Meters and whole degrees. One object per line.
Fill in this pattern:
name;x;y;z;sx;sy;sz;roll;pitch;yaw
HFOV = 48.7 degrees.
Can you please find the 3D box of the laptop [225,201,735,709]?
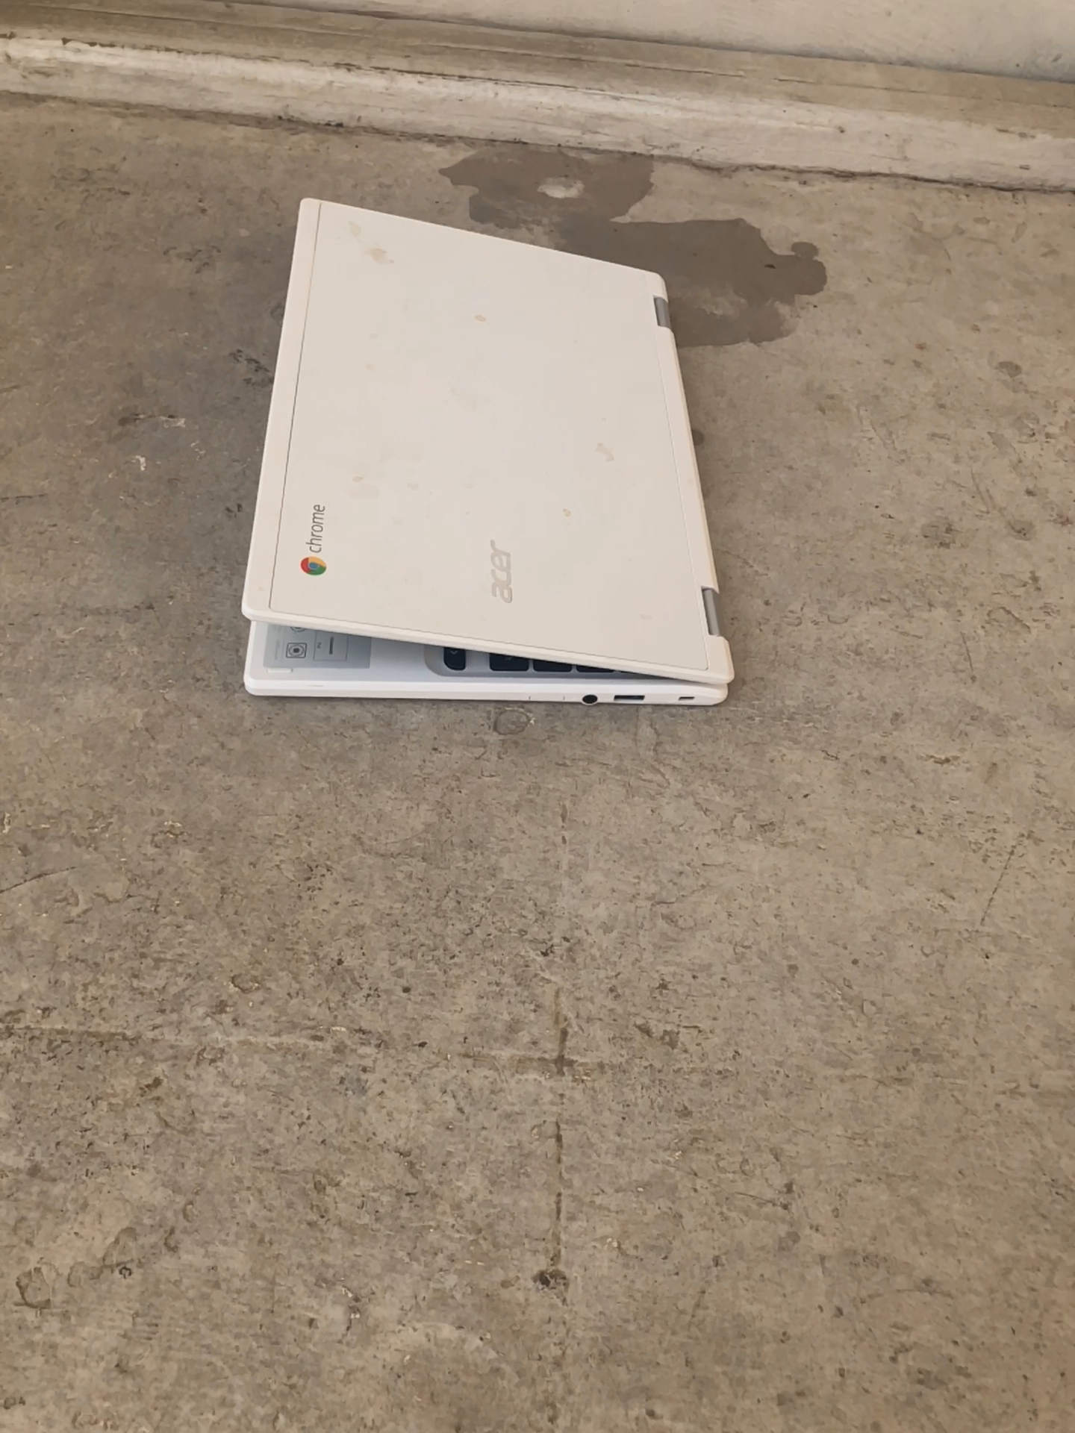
laptop;-0.026;-0.131;0.543;0.190;0.046;0.280;2;52;-7
